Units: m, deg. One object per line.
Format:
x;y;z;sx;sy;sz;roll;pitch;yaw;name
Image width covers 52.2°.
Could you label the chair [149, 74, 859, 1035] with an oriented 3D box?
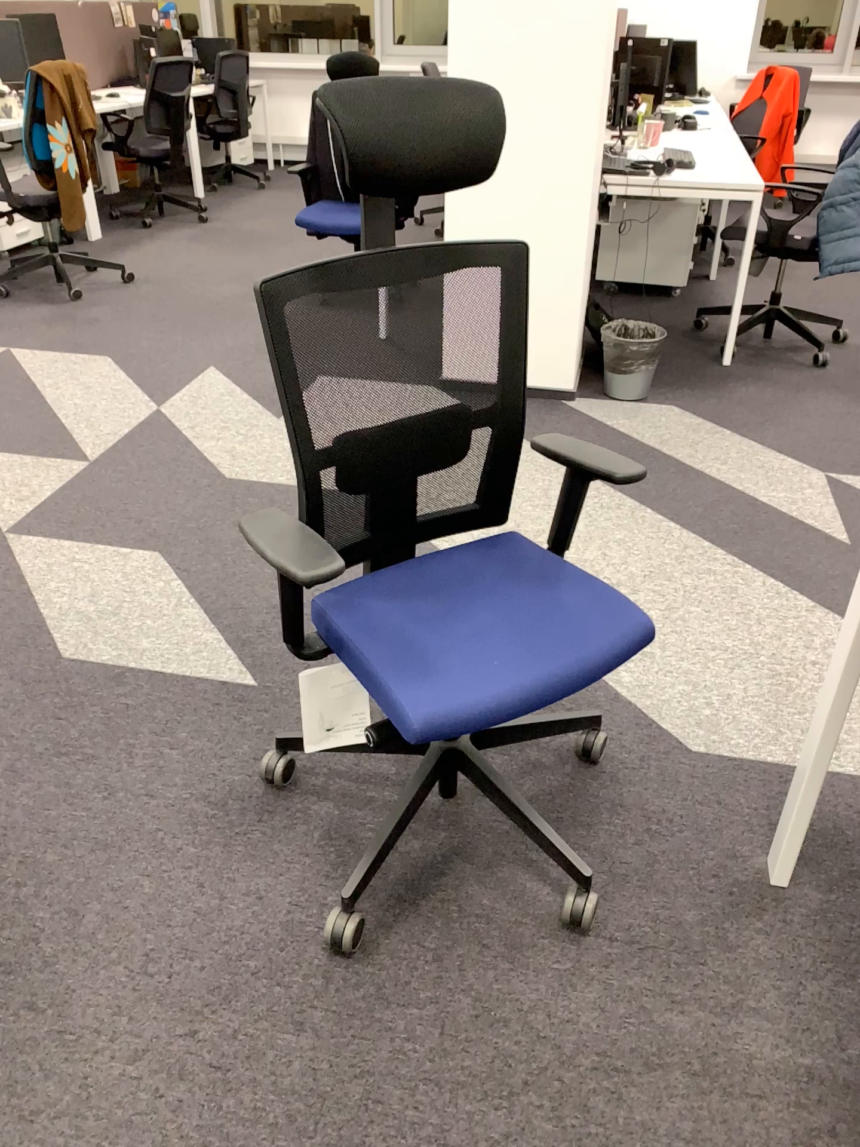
0.084;-0.061;1.411;0.731;1.243;0.673;-14;35;-22;chair
